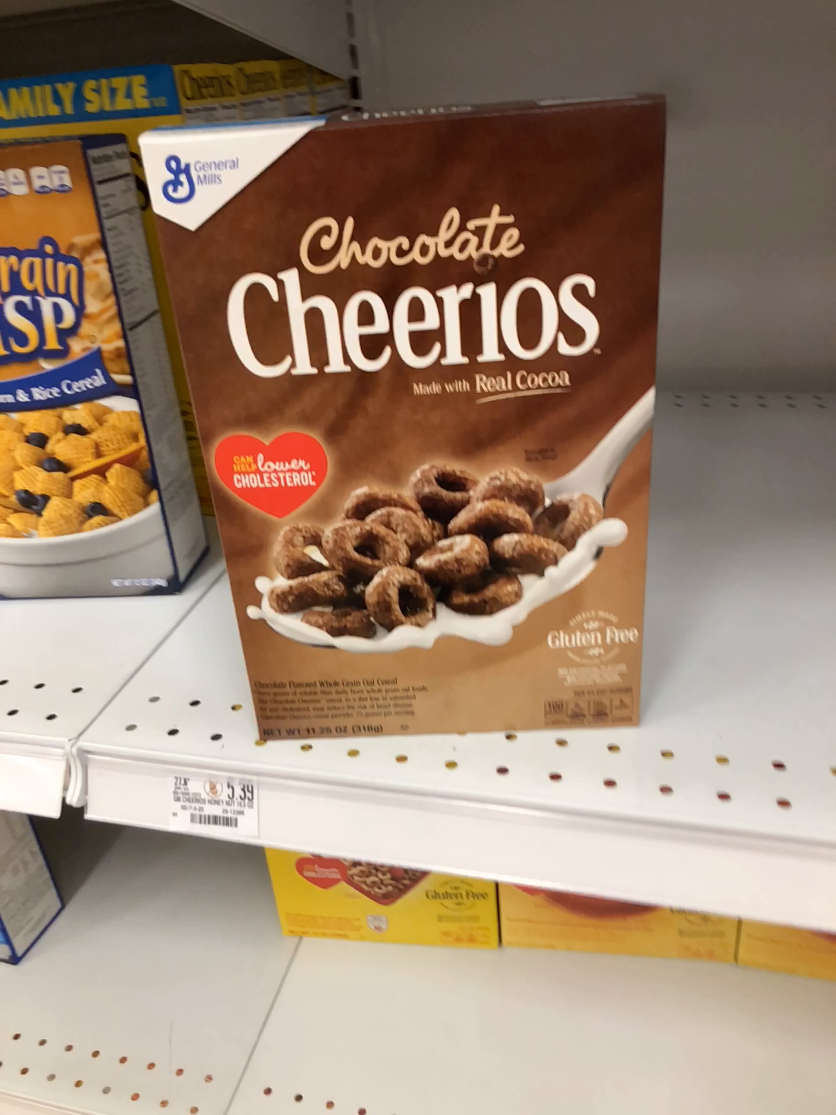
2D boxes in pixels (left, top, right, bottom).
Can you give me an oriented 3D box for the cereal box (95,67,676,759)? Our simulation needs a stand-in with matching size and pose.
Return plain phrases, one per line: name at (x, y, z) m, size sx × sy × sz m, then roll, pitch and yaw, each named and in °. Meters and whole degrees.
cereal box at (0.002, -0.044, 0.412) m, size 0.200 × 0.289 × 0.060 m, roll -3°, pitch 30°, yaw 6°
